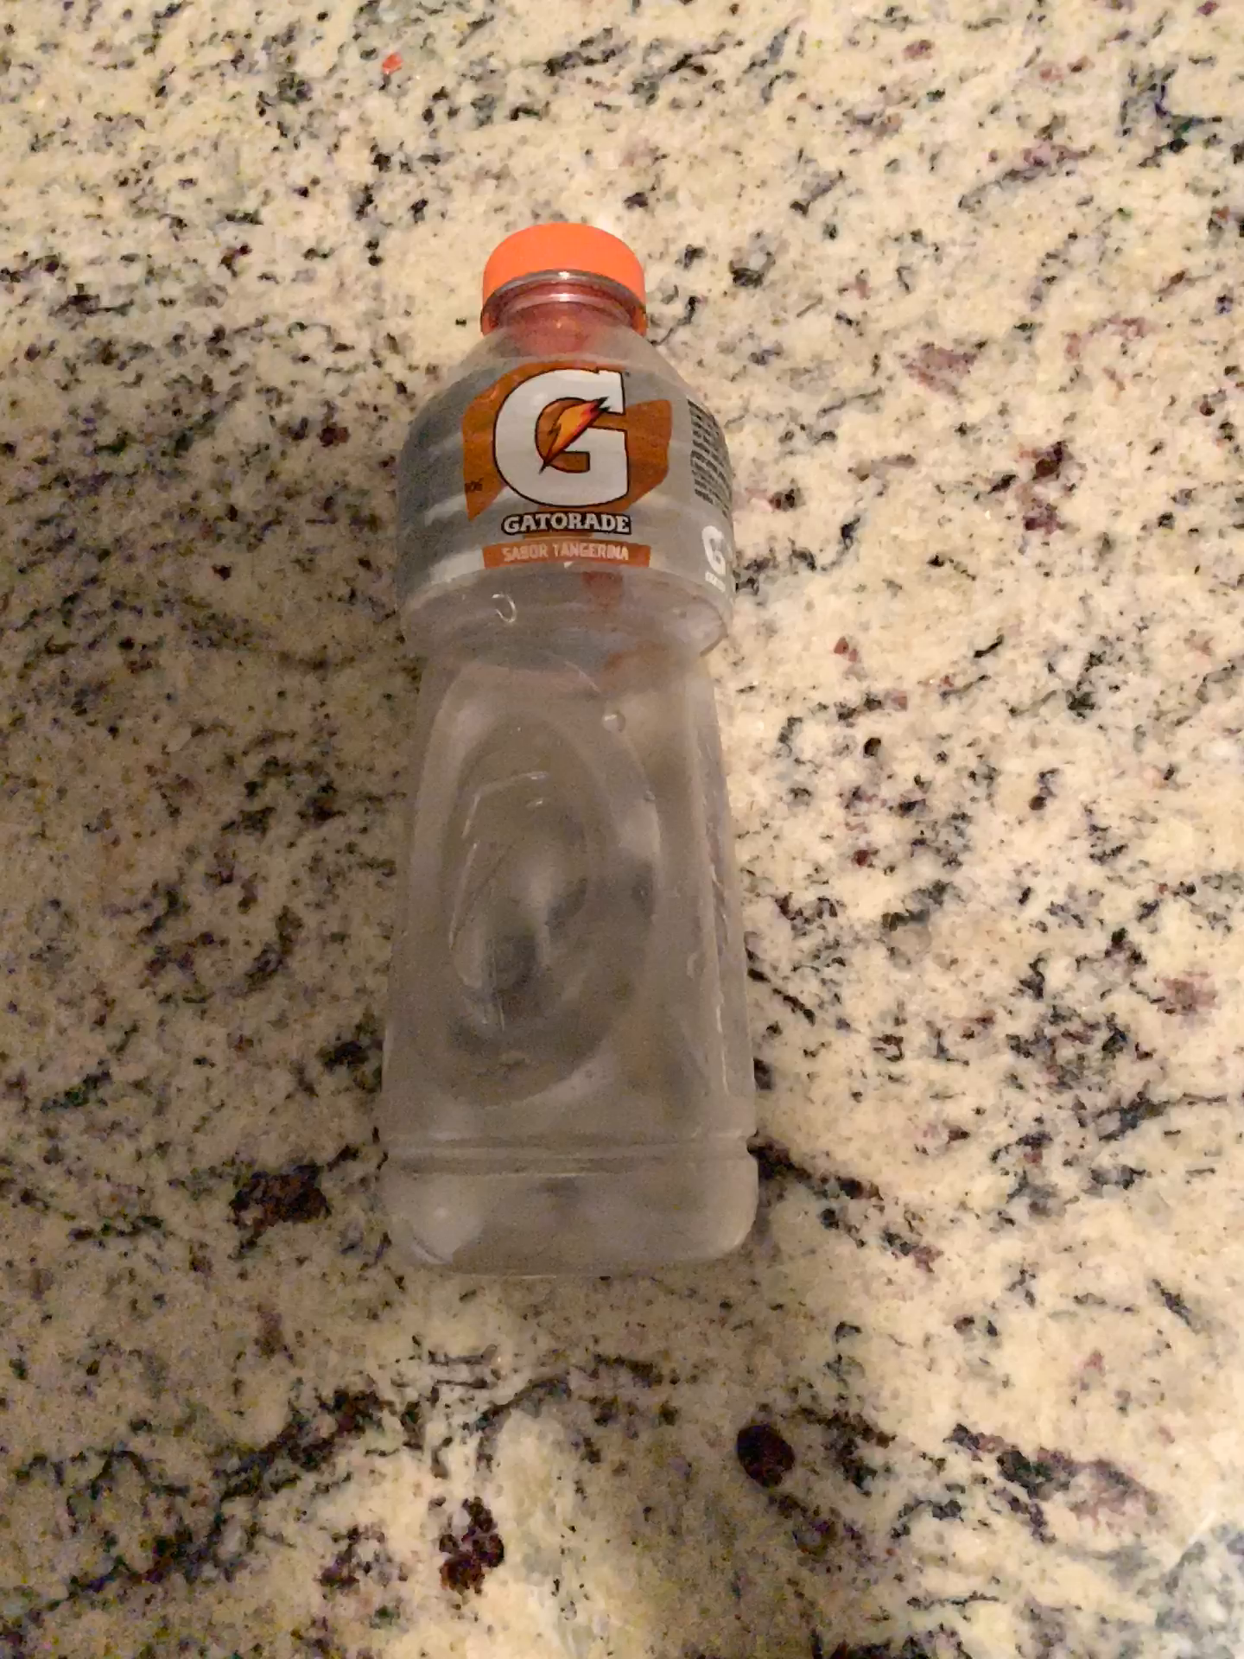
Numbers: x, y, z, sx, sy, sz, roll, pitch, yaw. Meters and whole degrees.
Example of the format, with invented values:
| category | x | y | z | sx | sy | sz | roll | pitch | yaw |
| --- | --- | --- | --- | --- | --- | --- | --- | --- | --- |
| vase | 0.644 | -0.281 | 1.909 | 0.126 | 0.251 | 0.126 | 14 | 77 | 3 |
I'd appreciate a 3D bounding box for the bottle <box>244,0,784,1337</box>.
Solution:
| category | x | y | z | sx | sy | sz | roll | pitch | yaw |
| --- | --- | --- | --- | --- | --- | --- | --- | --- | --- |
| bottle | -0.016 | -0.029 | 0.240 | 0.070 | 0.070 | 0.220 | -5 | 77 | 16 |
